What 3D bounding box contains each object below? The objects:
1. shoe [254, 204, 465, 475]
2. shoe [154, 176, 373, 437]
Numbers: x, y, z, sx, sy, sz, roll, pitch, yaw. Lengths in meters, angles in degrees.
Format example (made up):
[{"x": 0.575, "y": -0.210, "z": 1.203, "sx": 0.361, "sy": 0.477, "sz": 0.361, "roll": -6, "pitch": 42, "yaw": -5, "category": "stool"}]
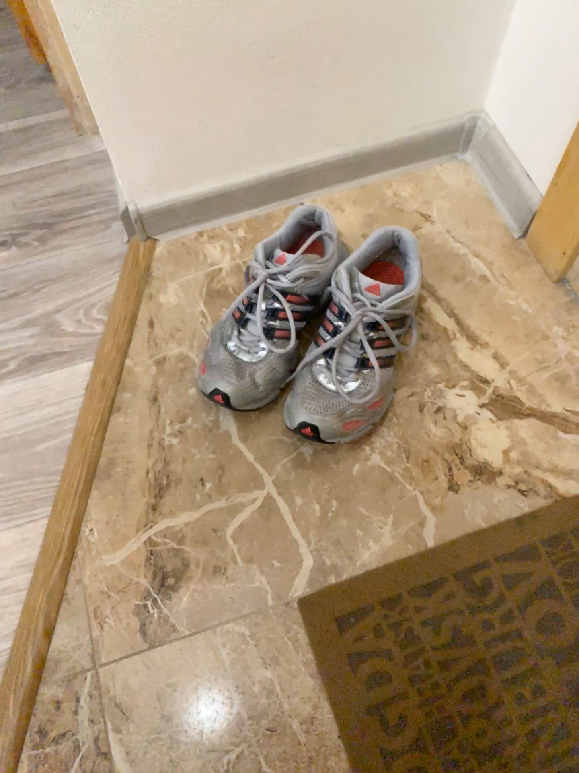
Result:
[{"x": 0.074, "y": -0.052, "z": 0.603, "sx": 0.110, "sy": 0.090, "sz": 0.240, "roll": 23, "pitch": 66, "yaw": 14, "category": "shoe"}, {"x": -0.018, "y": -0.087, "z": 0.622, "sx": 0.110, "sy": 0.090, "sz": 0.240, "roll": 24, "pitch": 66, "yaw": 14, "category": "shoe"}]
